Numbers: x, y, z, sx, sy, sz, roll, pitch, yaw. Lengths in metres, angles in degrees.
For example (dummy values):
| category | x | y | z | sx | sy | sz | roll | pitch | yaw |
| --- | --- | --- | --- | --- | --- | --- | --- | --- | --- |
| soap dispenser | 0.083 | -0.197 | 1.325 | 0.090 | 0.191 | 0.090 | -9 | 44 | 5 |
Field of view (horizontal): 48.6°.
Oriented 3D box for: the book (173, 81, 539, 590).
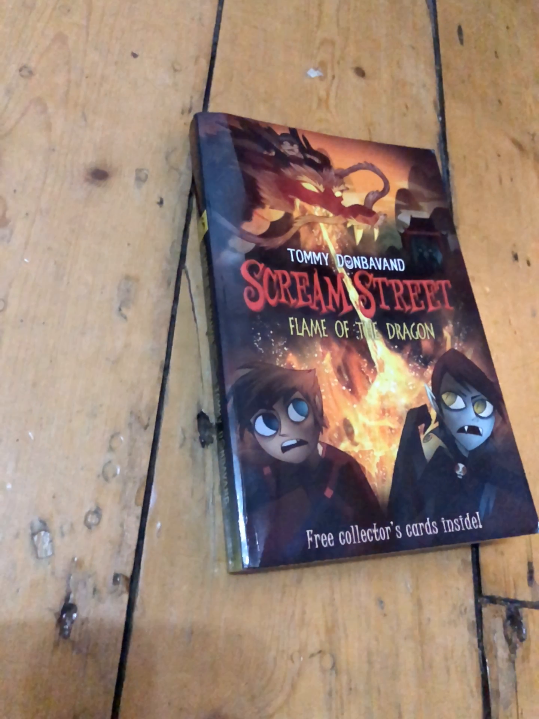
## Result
| category | x | y | z | sx | sy | sz | roll | pitch | yaw |
| --- | --- | --- | --- | --- | --- | --- | --- | --- | --- |
| book | 0.034 | -0.015 | 0.262 | 0.130 | 0.040 | 0.200 | 2 | 68 | -25 |
